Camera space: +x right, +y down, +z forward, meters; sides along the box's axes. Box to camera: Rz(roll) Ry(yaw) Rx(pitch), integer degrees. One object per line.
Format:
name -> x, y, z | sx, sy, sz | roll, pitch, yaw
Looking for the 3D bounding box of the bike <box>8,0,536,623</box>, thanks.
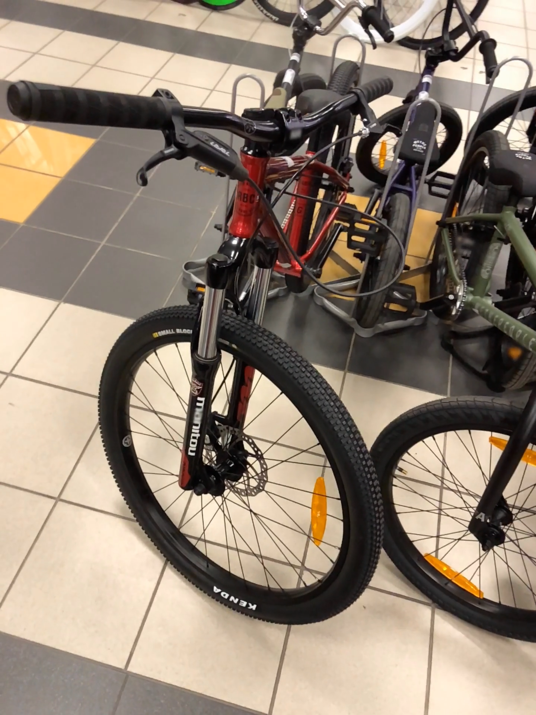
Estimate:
bike -> 0.133, -0.365, 1.317 | 0.711, 0.998, 1.343 | 8, 47, 1
